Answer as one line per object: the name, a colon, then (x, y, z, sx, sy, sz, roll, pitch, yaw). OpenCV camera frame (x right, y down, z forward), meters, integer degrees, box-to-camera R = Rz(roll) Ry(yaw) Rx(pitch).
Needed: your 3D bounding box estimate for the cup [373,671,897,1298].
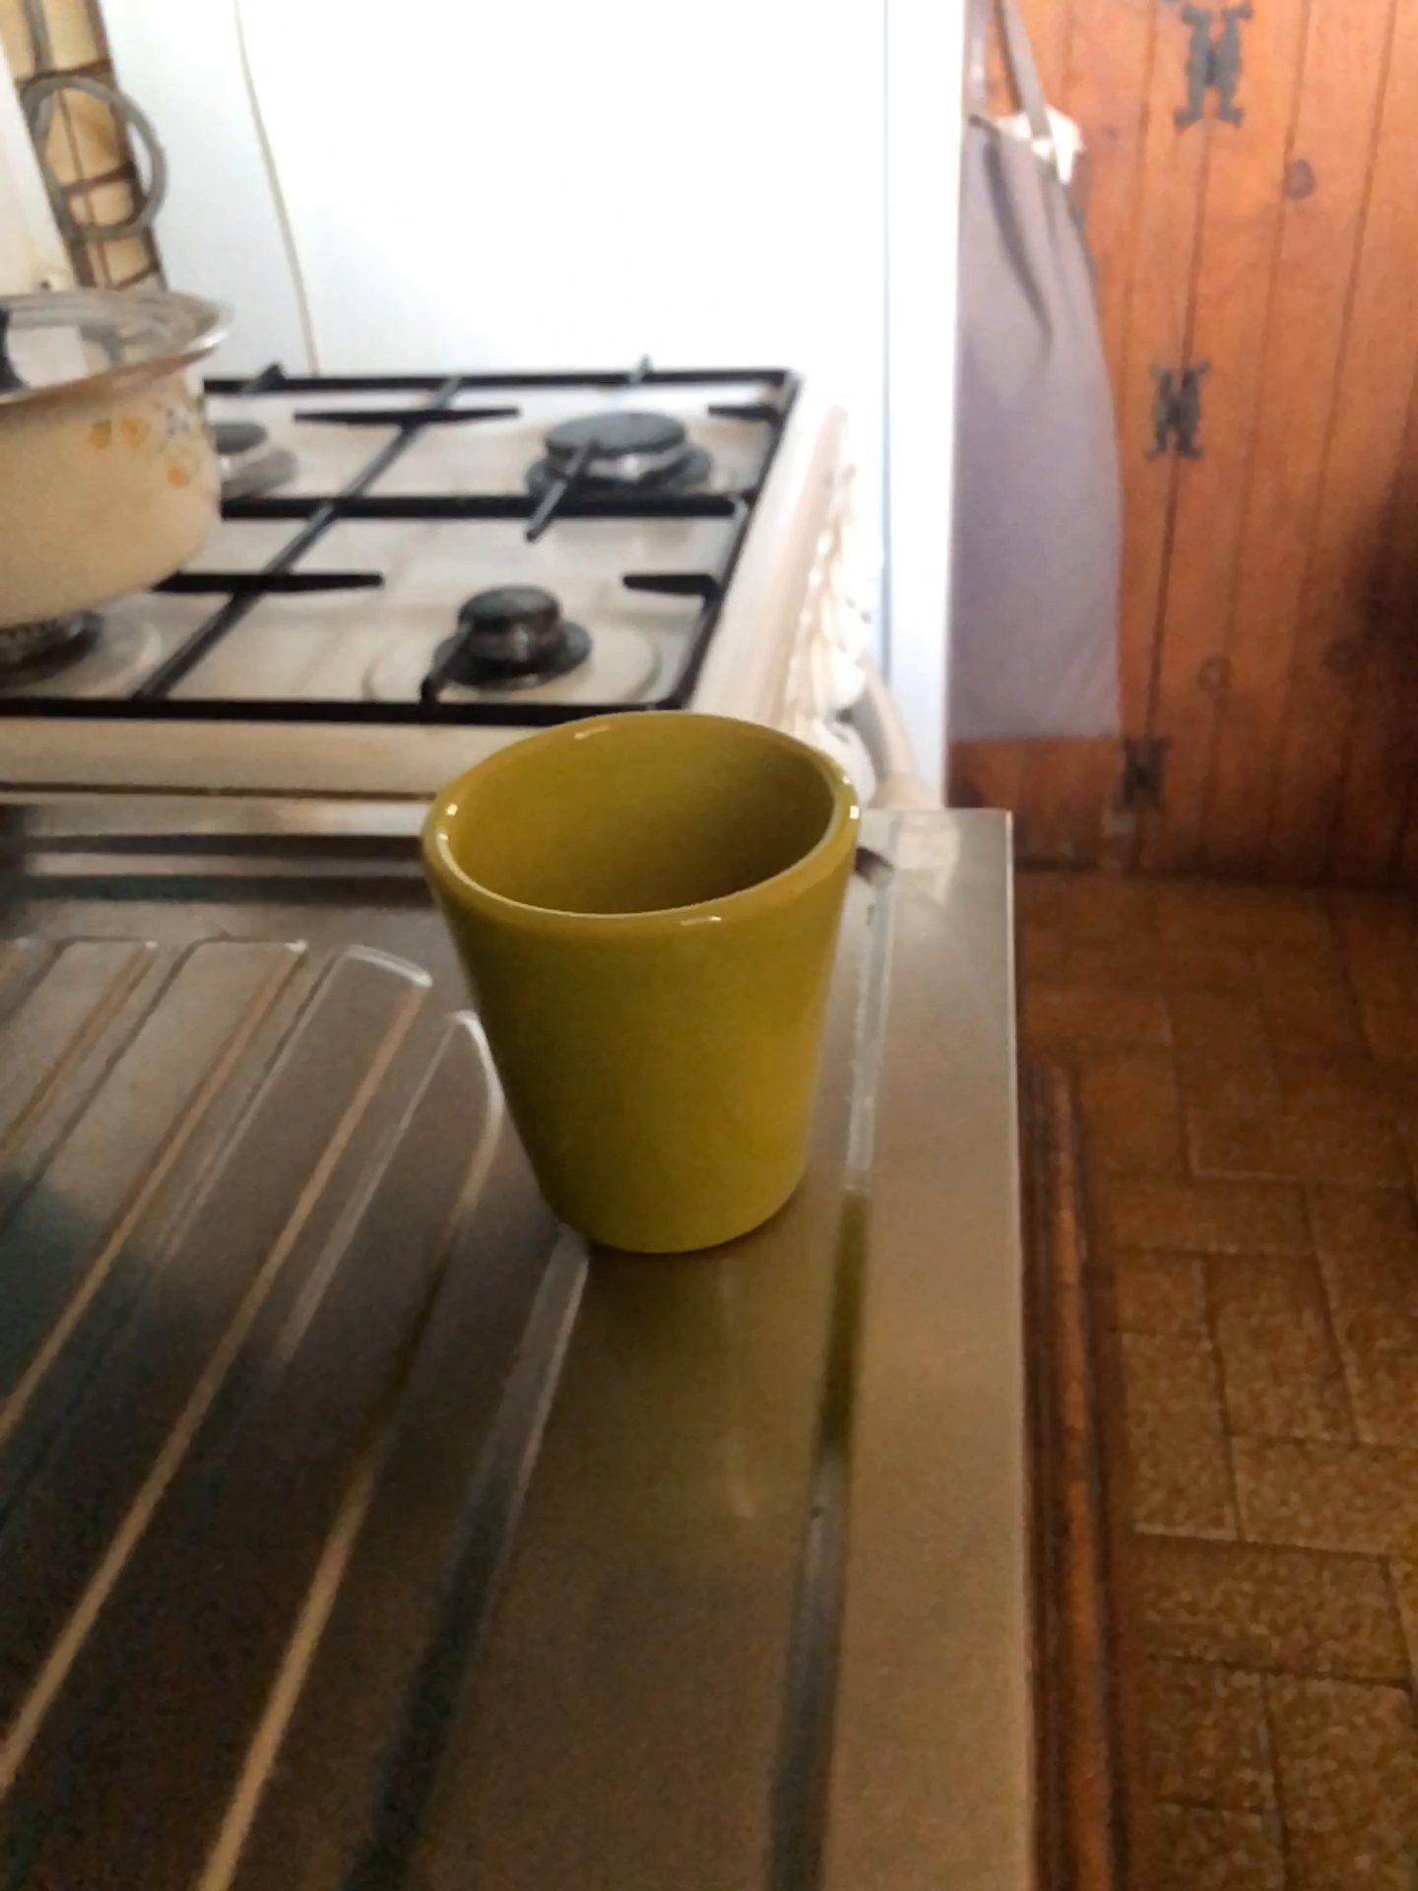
cup: (-0.007, 0.005, 0.314, 0.080, 0.089, 0.081, -3, 34, 2)
